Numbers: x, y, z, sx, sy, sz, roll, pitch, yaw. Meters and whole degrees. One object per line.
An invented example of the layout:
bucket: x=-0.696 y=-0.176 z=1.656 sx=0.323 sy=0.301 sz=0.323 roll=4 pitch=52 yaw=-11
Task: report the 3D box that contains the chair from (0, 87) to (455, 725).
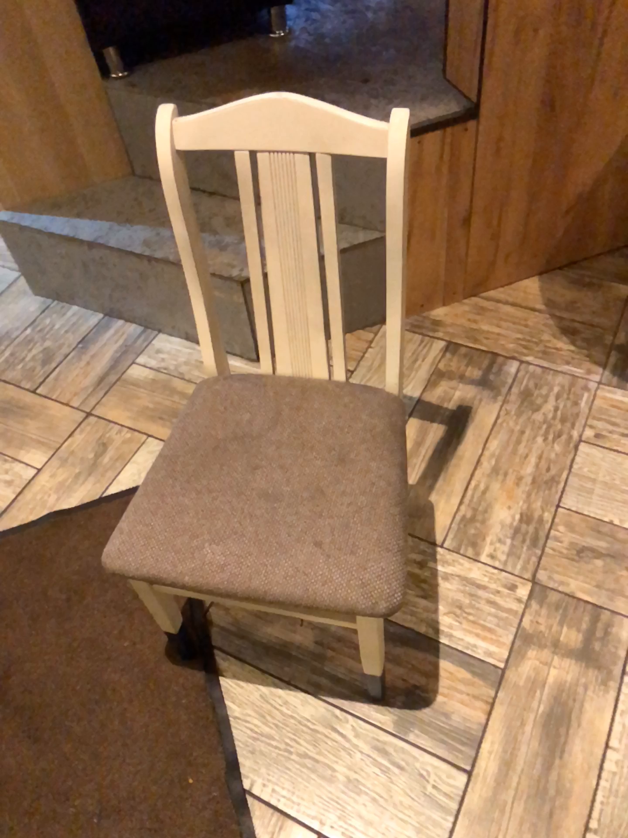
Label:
chair: x=-0.064 y=0.039 z=1.124 sx=0.479 sy=0.916 sz=0.521 roll=6 pitch=50 yaw=12
